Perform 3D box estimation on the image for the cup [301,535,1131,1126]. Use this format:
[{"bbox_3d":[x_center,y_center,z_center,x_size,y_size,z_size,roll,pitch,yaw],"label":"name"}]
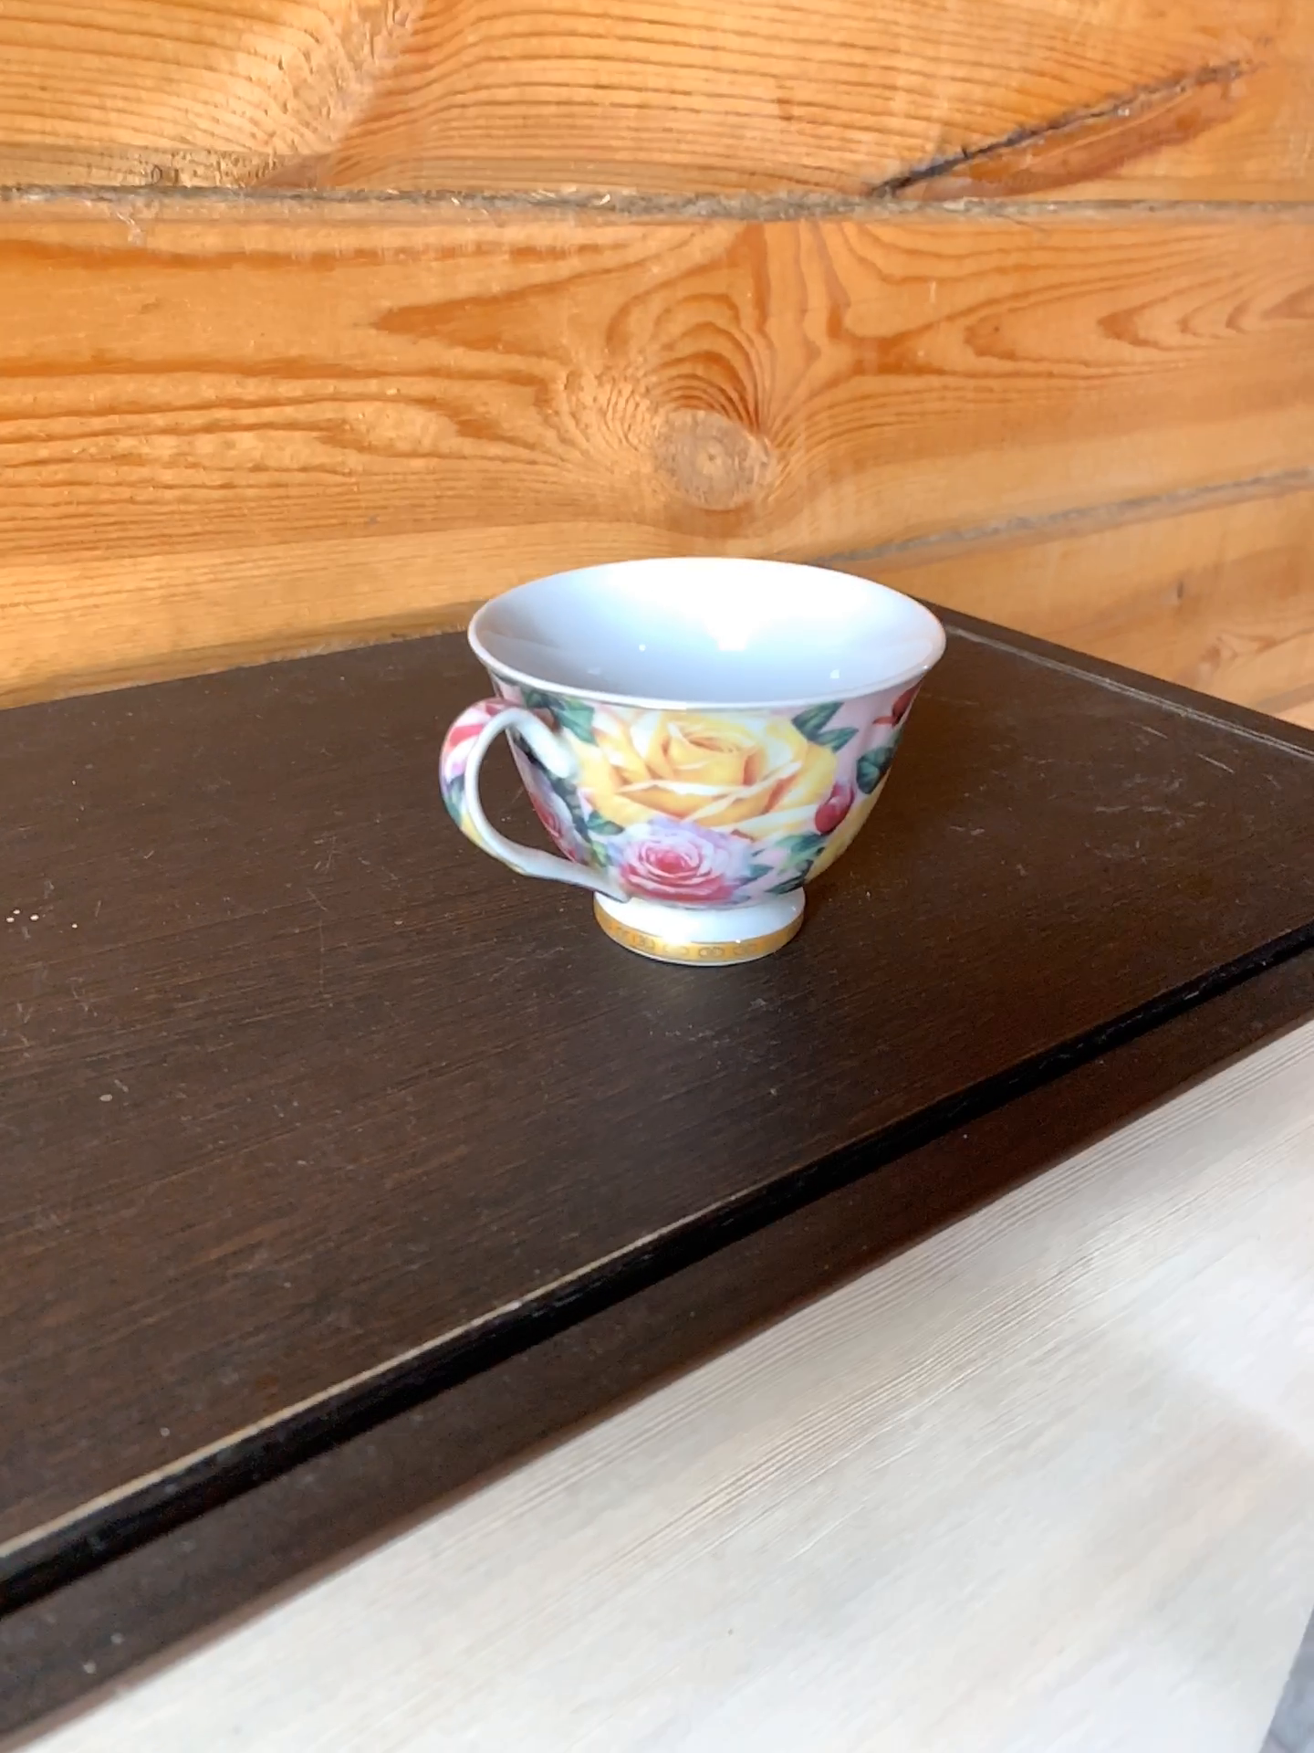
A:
[{"bbox_3d":[0.010,-0.021,0.268,0.120,0.059,0.100,-17,31,-33],"label":"cup"}]
